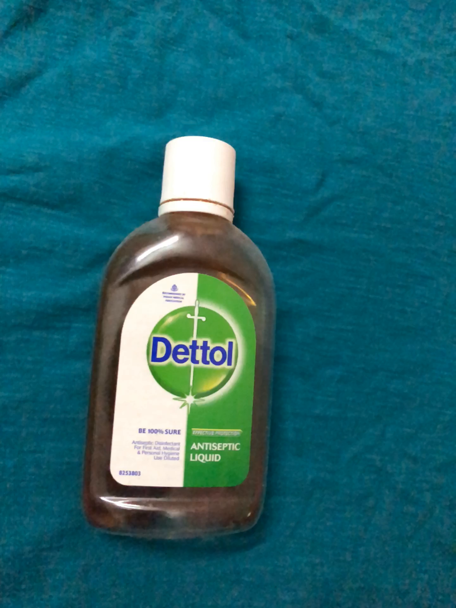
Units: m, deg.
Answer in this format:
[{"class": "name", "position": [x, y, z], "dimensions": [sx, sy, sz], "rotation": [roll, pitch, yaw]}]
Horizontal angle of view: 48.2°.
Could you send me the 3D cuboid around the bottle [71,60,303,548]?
[{"class": "bottle", "position": [-0.016, 0.000, 0.217], "dimensions": [0.080, 0.040, 0.180], "rotation": [6, 82, -17]}]
